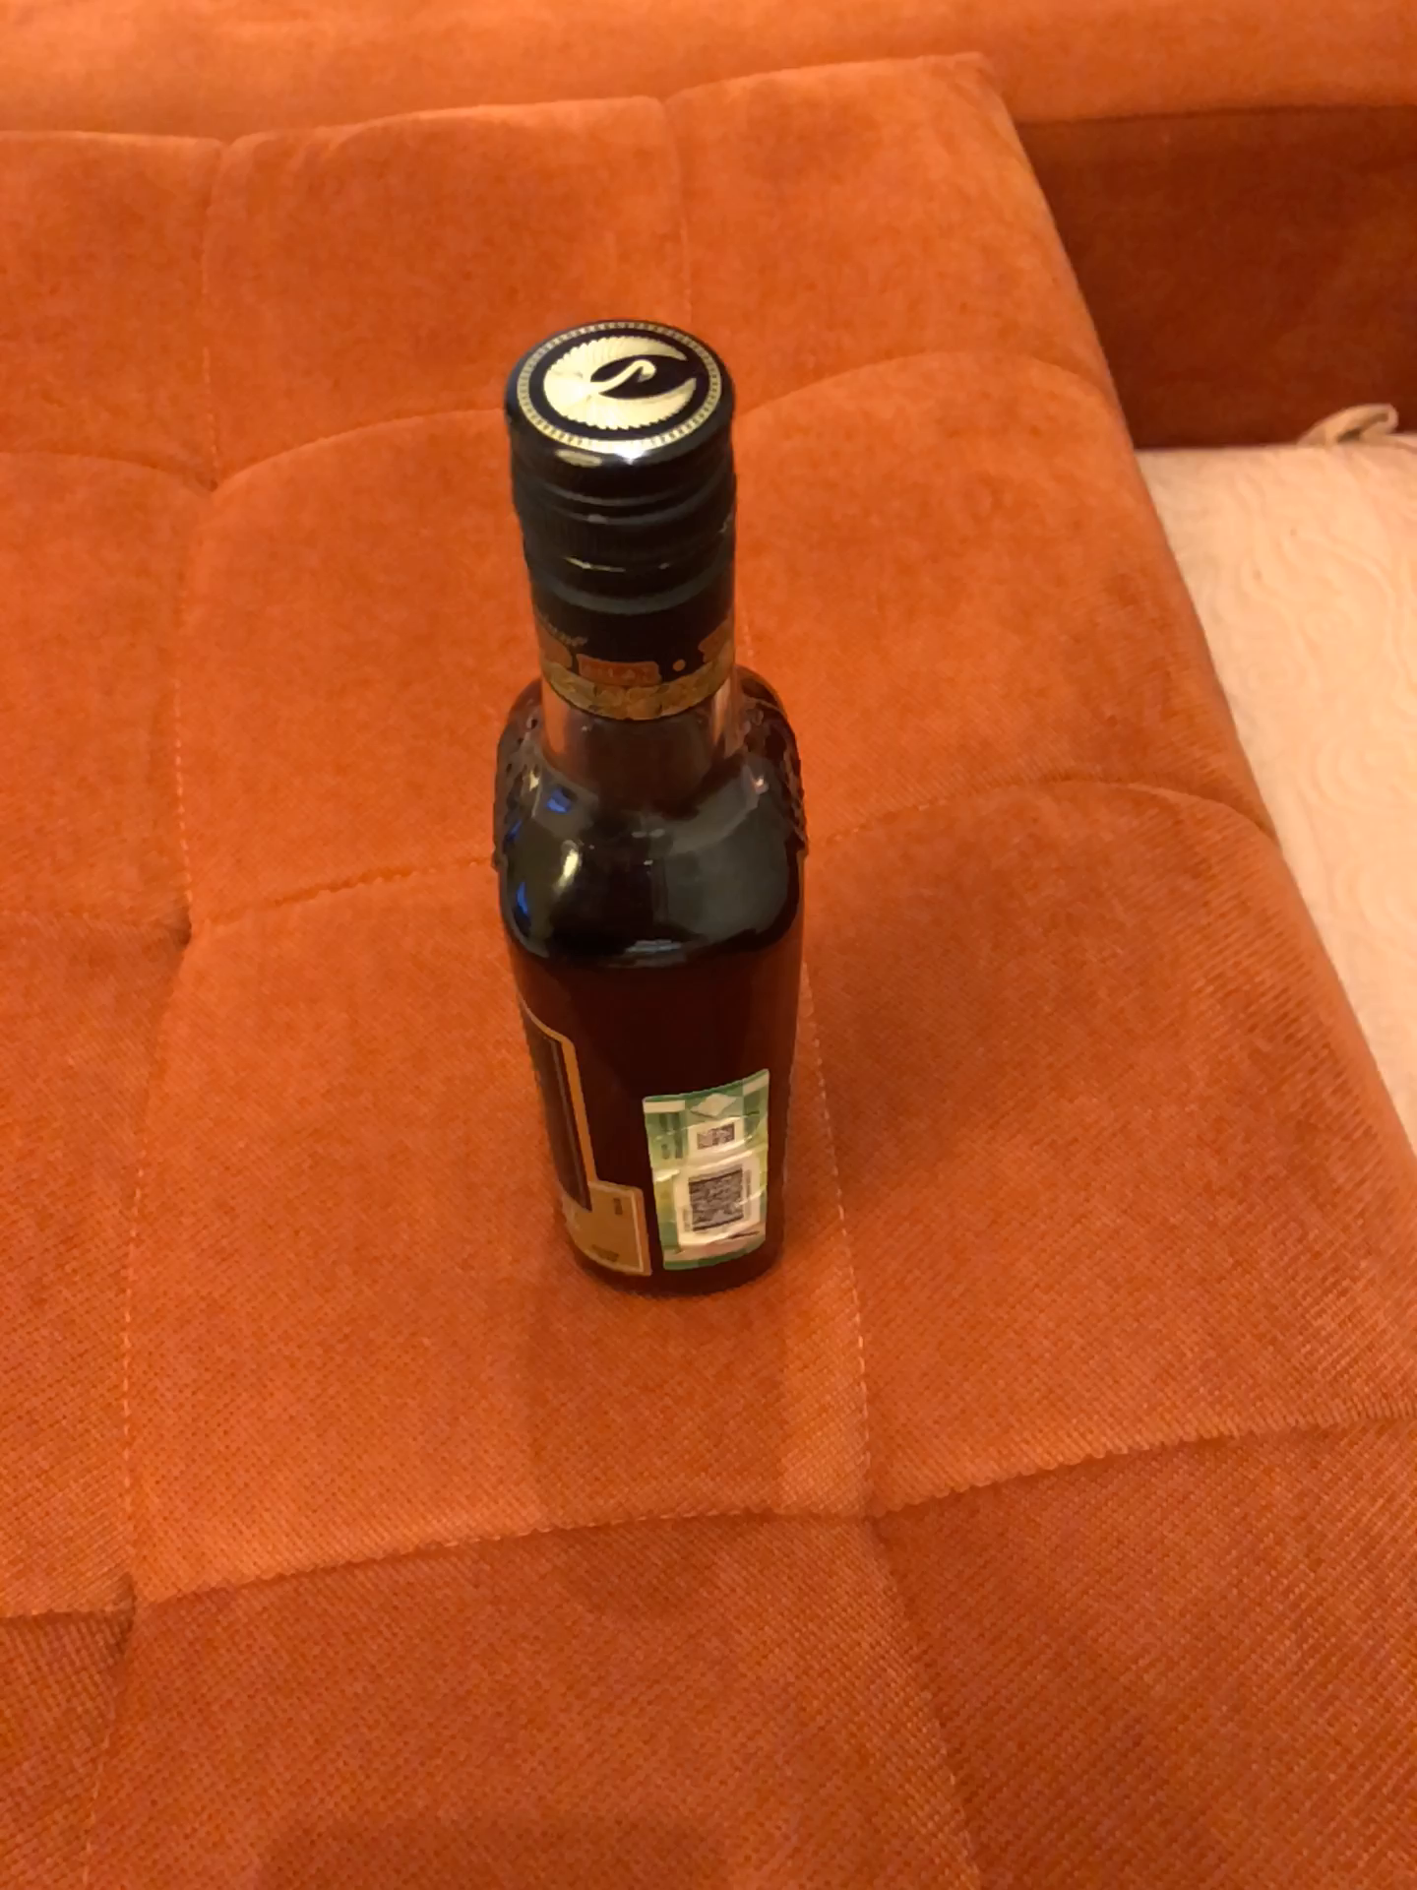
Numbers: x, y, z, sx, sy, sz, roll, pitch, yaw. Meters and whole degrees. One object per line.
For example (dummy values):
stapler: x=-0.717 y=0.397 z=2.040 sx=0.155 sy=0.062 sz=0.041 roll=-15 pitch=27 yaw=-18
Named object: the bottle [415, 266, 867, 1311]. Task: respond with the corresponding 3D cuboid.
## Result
bottle: x=-0.009 y=-0.005 z=0.314 sx=0.056 sy=0.237 sz=0.074 roll=-3 pitch=57 yaw=-1
